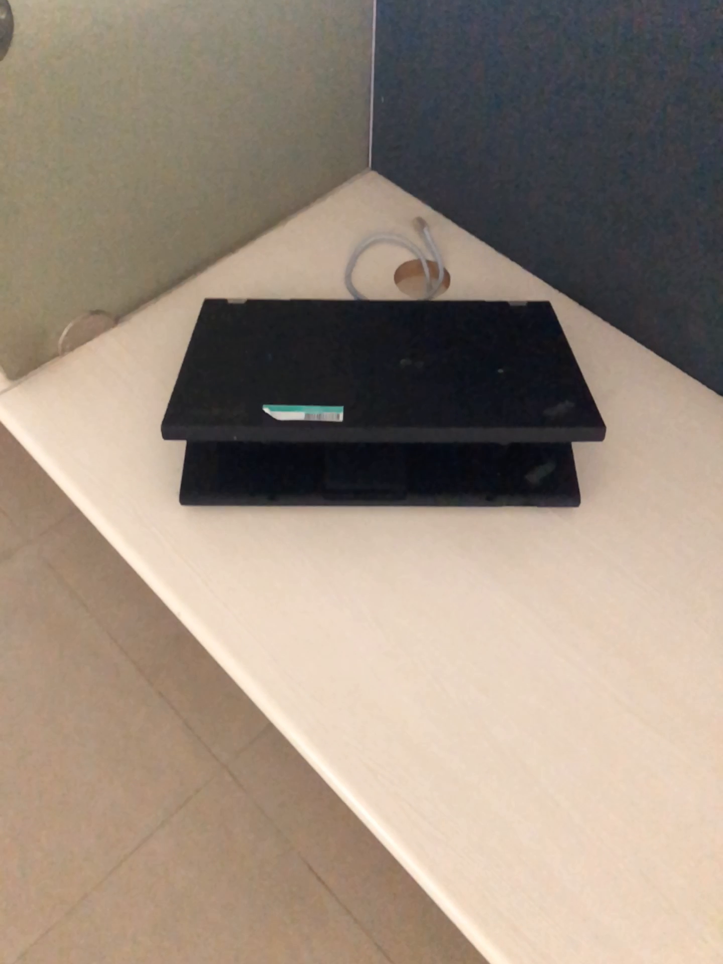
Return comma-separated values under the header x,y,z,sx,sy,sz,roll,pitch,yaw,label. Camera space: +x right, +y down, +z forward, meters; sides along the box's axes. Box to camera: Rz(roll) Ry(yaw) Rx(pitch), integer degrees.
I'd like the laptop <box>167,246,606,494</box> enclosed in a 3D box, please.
x,y,z,sx,sy,sz,roll,pitch,yaw,label
0.020,-0.110,0.753,0.363,0.077,0.236,0,57,-1,laptop
